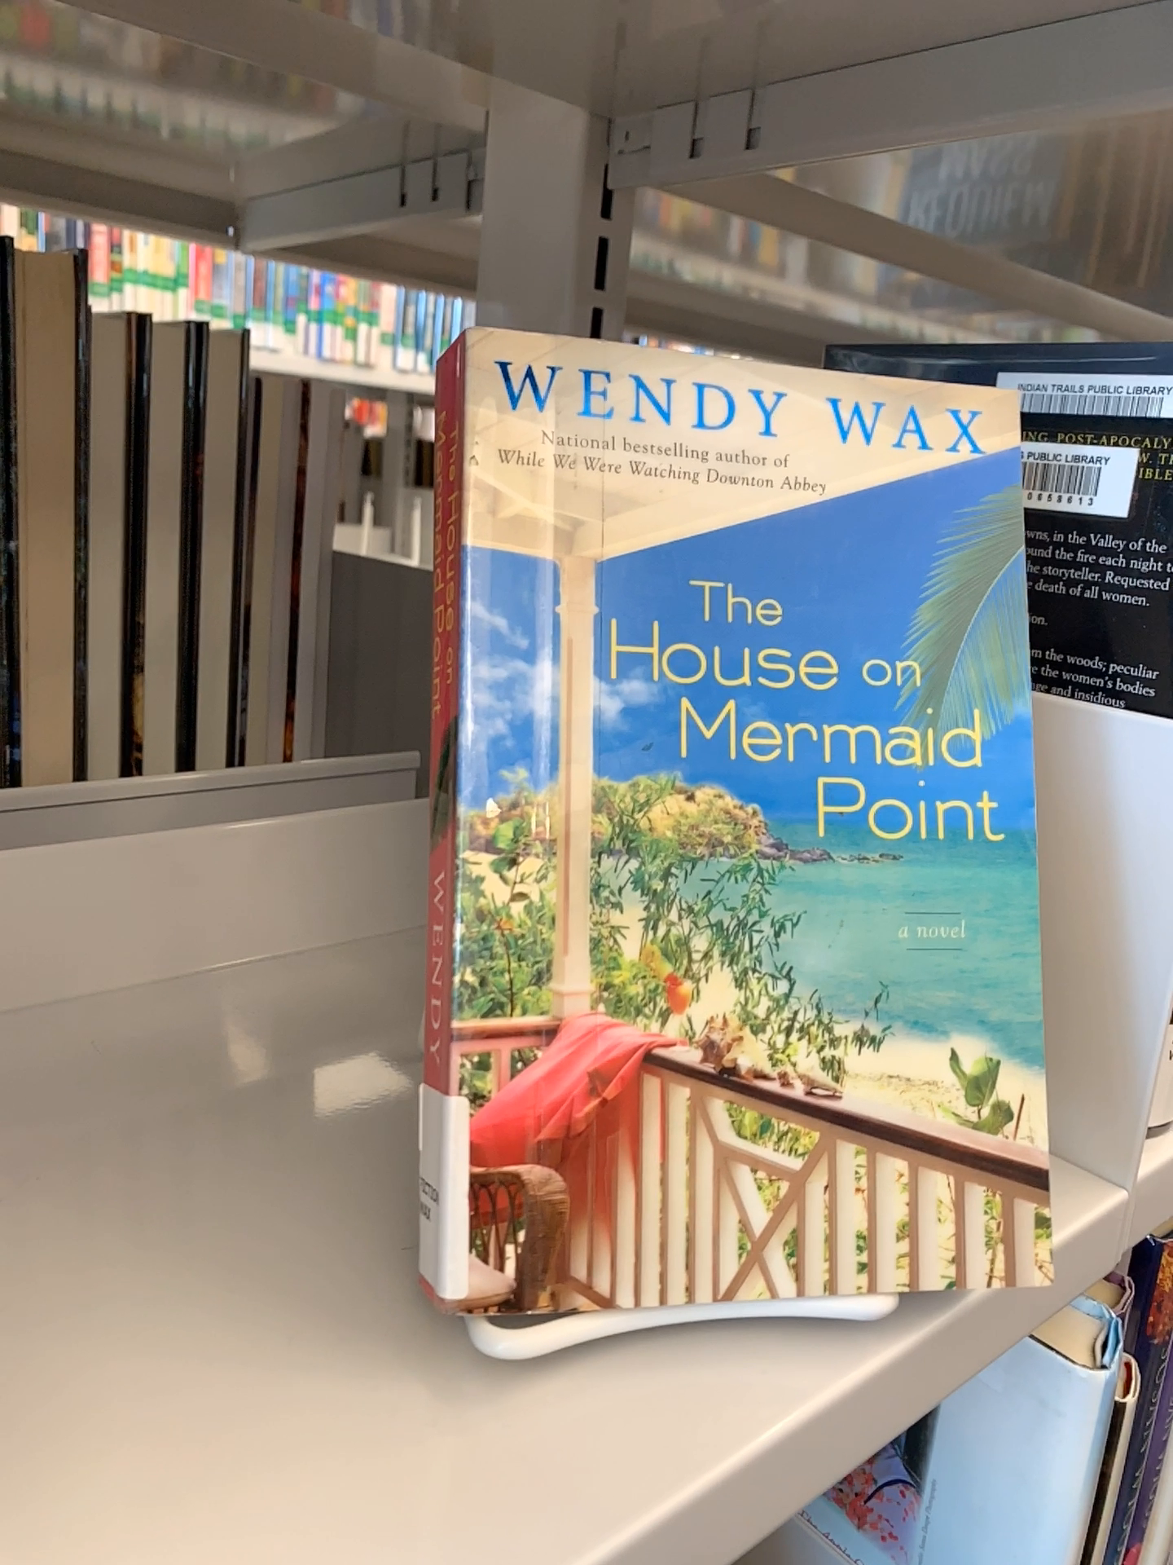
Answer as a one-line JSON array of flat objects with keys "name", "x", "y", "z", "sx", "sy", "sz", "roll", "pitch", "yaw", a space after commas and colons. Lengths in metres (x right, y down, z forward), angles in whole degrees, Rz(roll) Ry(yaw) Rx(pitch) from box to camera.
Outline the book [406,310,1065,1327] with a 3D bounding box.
[{"name": "book", "x": 0.030, "y": 0.006, "z": 0.265, "sx": 0.131, "sy": 0.193, "sz": 0.043, "roll": 2, "pitch": -6, "yaw": -12}]
